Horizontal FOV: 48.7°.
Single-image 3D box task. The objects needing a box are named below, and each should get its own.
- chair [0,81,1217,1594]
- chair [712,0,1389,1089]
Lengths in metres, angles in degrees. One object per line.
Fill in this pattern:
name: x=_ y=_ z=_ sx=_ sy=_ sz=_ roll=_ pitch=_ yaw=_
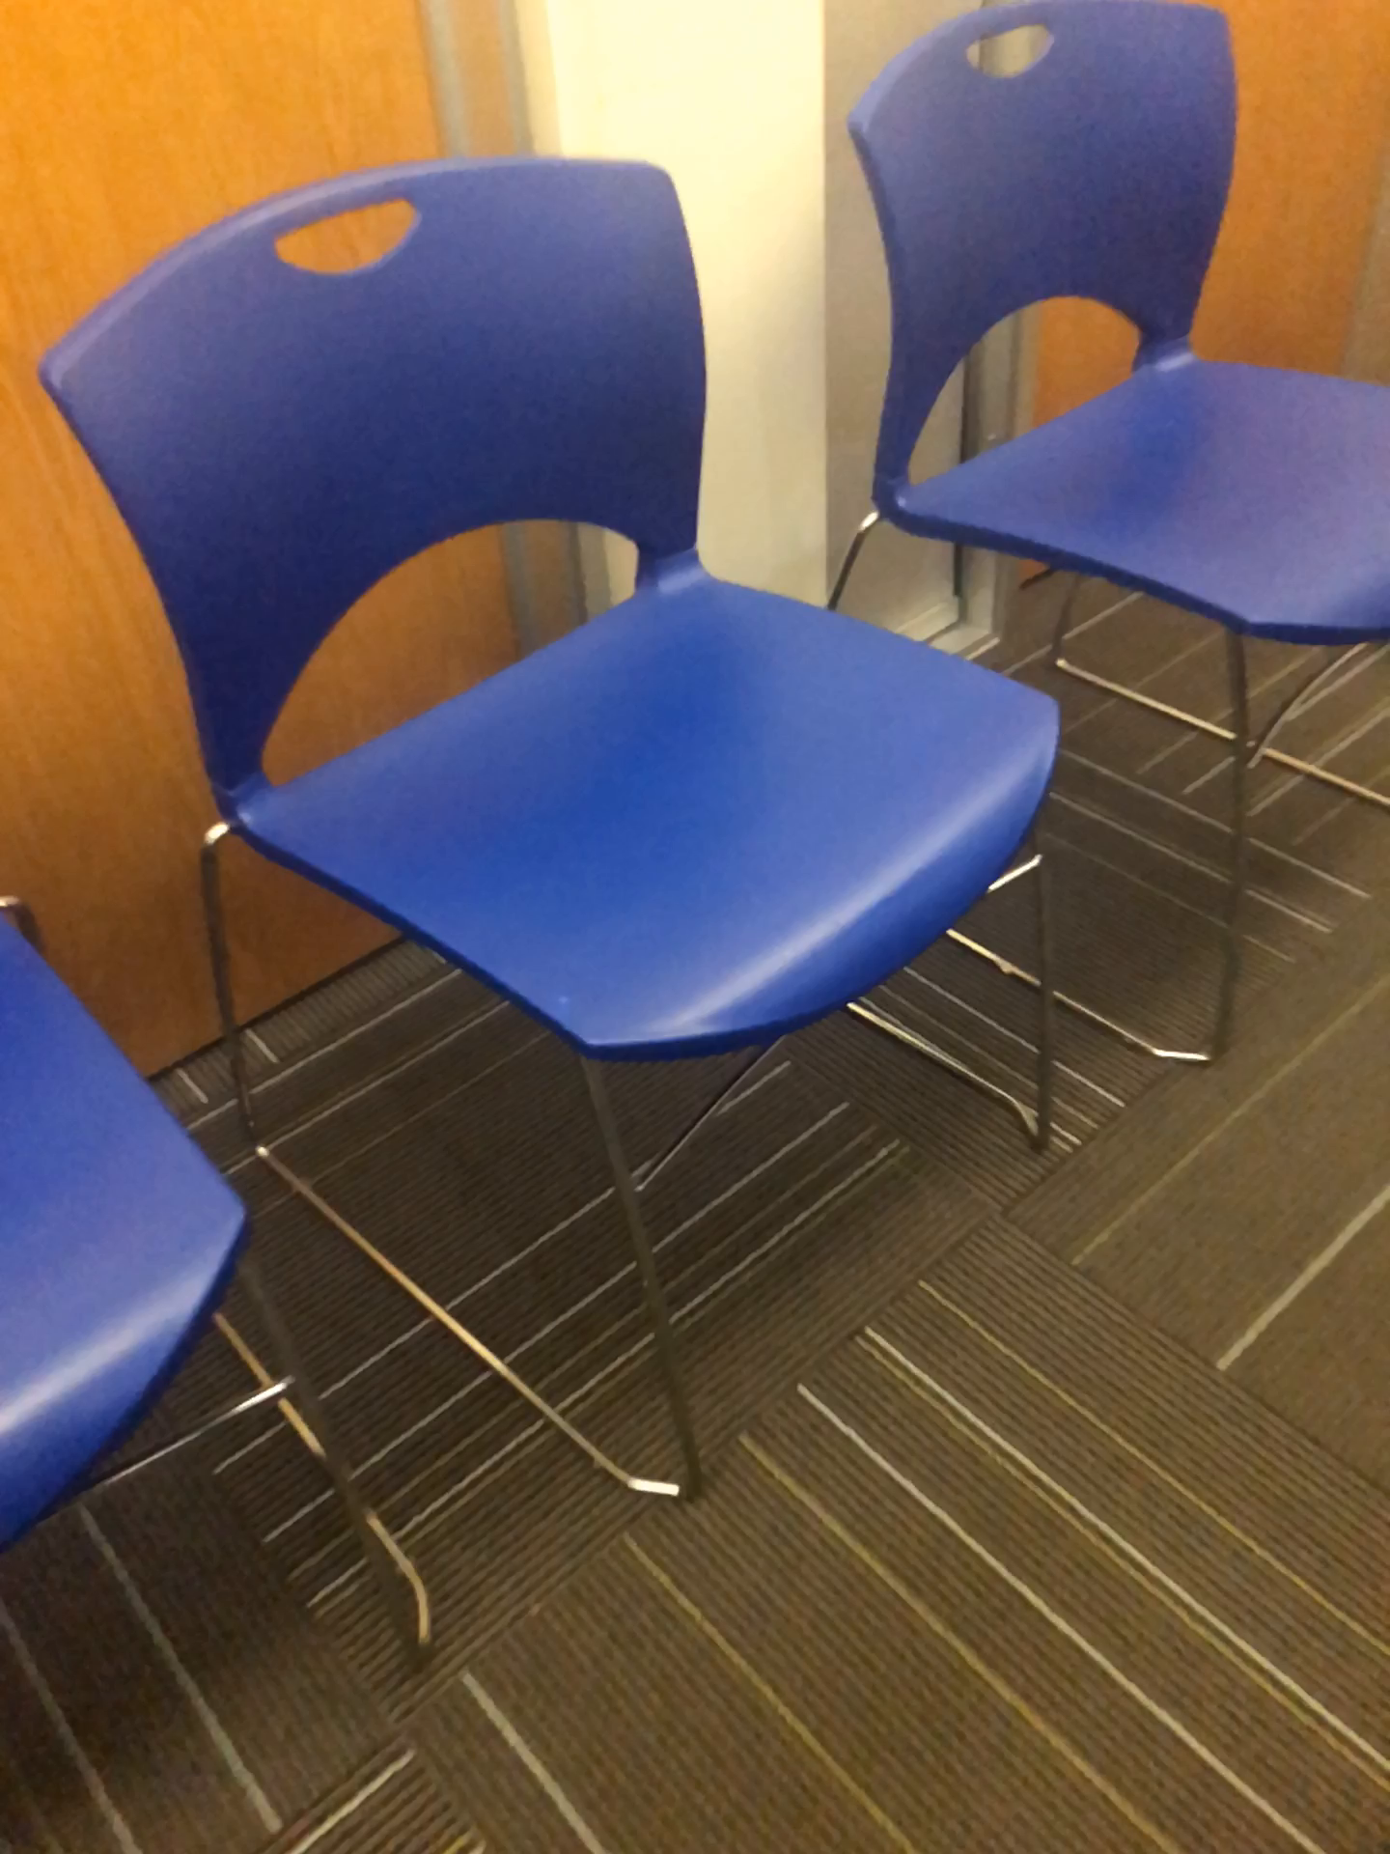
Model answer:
chair: x=-0.083 y=-0.098 z=1.191 sx=0.523 sy=0.853 sz=0.632 roll=-33 pitch=47 yaw=-31
chair: x=0.436 y=-0.409 z=1.454 sx=0.543 sy=0.774 sz=0.592 roll=-31 pitch=45 yaw=-30
